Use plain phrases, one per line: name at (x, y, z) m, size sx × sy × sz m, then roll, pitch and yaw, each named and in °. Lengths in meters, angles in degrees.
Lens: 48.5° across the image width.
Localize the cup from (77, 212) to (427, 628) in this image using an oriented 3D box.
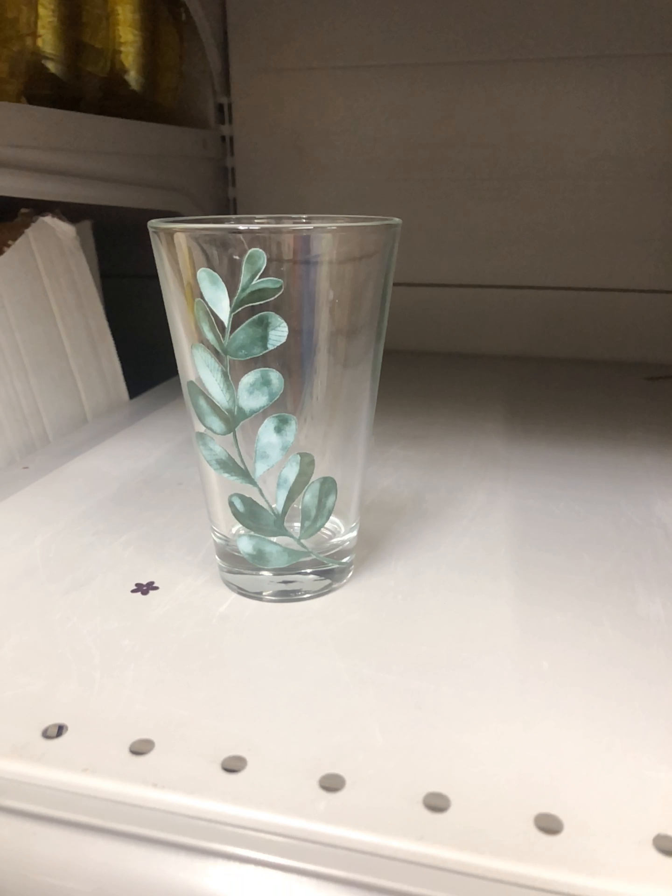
cup at (-0.020, -0.018, 0.248) m, size 0.083 × 0.114 × 0.084 m, roll 0°, pitch 18°, yaw 0°
